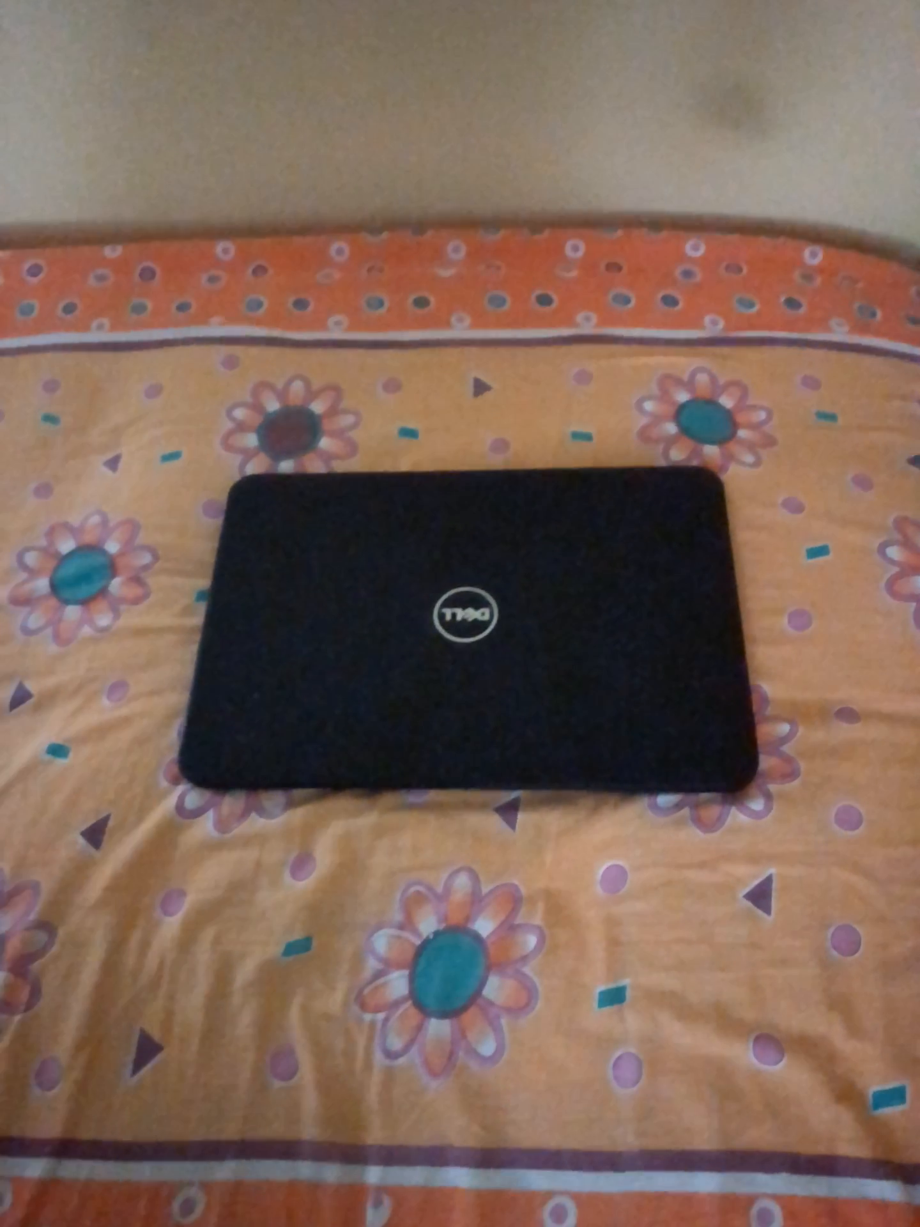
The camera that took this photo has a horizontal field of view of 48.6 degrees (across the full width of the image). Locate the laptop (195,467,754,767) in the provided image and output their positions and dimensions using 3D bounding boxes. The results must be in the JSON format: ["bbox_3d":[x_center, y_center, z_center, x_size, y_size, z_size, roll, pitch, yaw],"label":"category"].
[{"bbox_3d":[0.006,-0.005,0.711,0.358,0.001,0.236,-1,60,4],"label":"laptop"}]
